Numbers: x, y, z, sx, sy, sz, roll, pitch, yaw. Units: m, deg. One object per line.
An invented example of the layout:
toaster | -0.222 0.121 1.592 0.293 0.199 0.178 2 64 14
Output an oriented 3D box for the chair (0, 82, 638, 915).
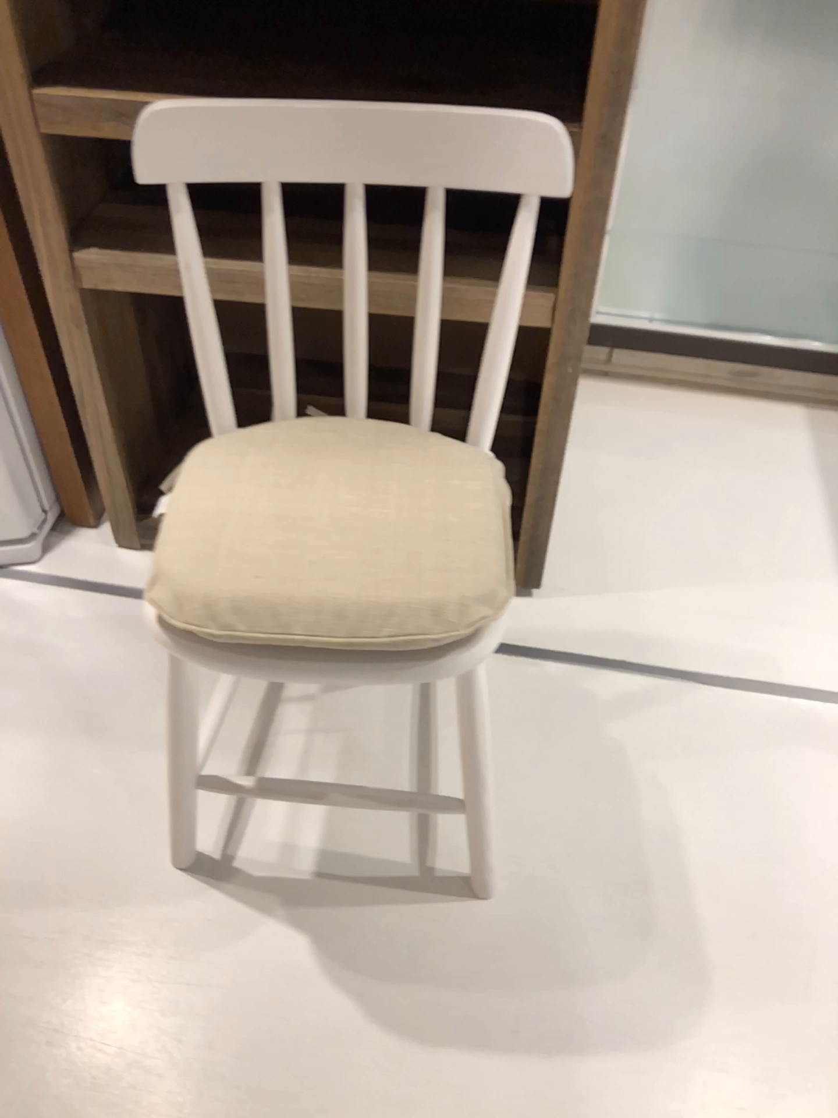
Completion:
chair | -0.082 -0.034 1.003 0.450 0.725 0.484 5 44 2
